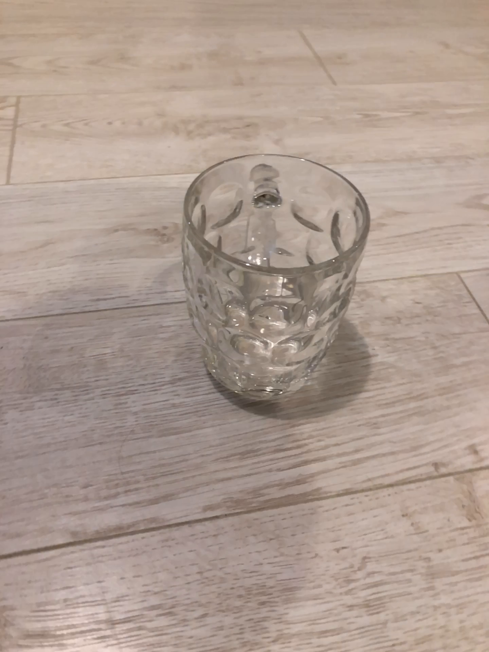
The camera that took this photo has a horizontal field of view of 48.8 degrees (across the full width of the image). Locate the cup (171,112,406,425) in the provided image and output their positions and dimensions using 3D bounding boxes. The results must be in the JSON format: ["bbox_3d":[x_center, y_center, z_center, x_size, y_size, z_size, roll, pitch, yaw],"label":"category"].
[{"bbox_3d":[0.017,-0.034,0.315,0.100,0.109,0.141,4,49,-2],"label":"cup"}]
